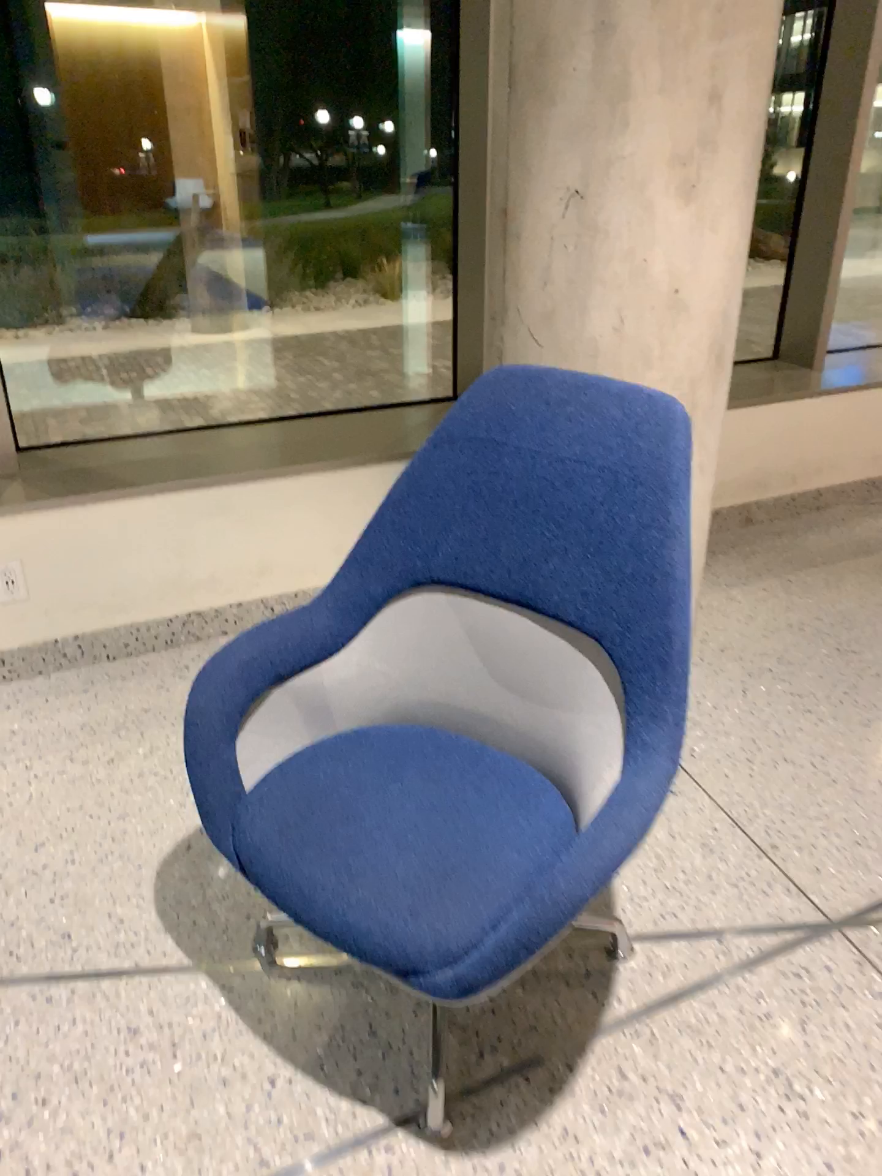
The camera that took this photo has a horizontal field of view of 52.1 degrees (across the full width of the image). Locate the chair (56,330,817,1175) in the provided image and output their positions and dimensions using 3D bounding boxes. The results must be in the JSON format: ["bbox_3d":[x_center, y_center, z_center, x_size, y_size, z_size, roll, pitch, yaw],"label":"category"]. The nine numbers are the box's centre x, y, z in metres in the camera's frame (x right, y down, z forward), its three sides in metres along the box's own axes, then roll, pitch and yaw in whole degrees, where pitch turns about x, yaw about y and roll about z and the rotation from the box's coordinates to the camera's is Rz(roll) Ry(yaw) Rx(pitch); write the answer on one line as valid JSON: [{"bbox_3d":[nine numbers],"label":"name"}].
[{"bbox_3d":[-0.014,0.195,1.434,0.817,0.996,0.634,20,32,35],"label":"chair"}]
